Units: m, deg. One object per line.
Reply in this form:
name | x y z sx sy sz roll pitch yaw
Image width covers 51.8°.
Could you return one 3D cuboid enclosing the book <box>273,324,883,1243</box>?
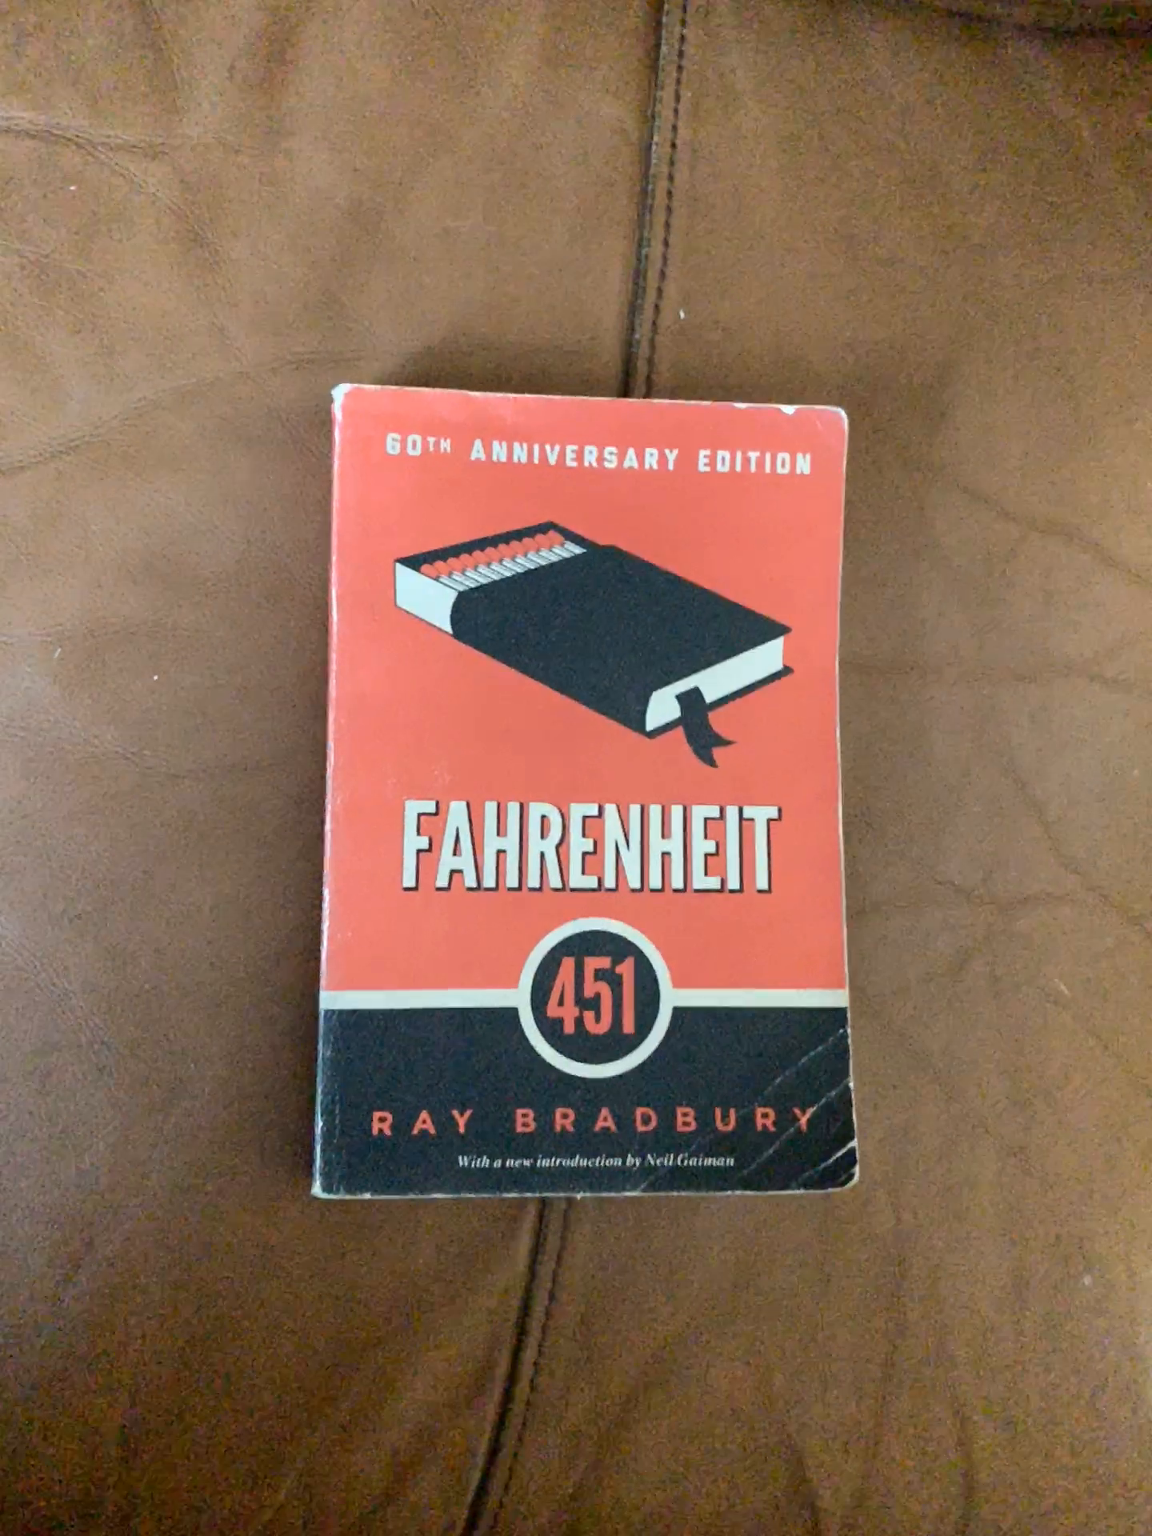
book | -0.001 0.002 0.317 0.150 0.040 0.220 1 83 -12
